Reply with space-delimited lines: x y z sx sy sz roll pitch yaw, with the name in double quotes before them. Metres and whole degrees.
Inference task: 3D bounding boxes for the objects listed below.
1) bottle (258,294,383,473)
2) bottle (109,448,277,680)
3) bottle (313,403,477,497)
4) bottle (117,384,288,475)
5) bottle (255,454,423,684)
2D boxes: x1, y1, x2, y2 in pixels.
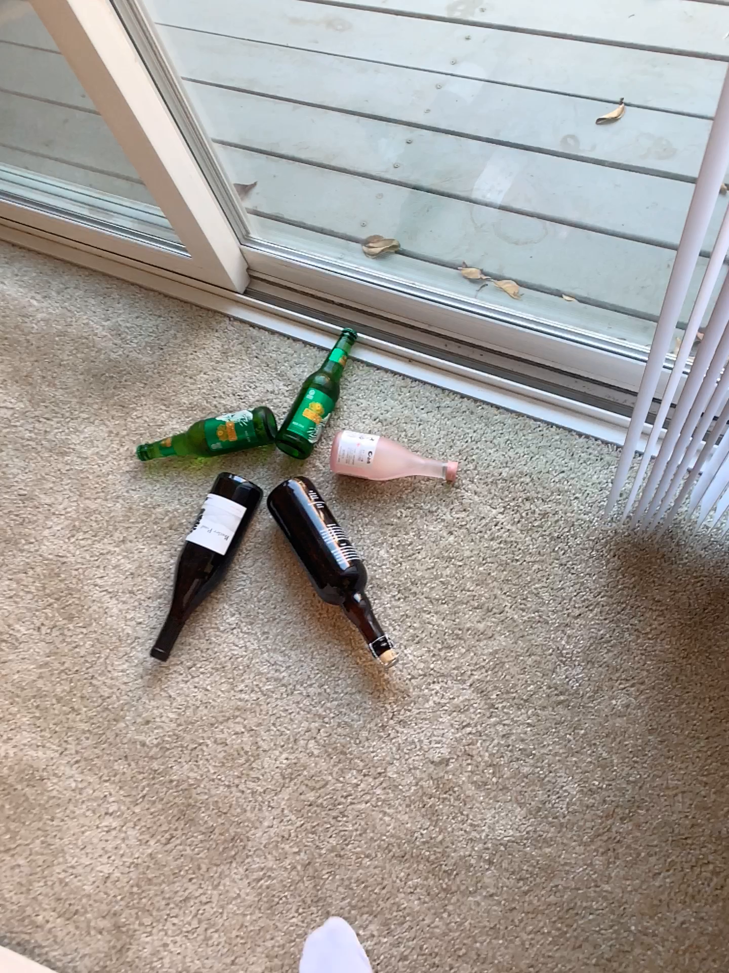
"bottle" -0.063 -0.159 1.149 0.080 0.090 0.250 18 75 19
"bottle" -0.238 0.108 1.071 0.080 0.090 0.310 17 70 19
"bottle" 0.047 -0.053 1.075 0.211 0.090 0.080 8 70 19
"bottle" -0.248 -0.086 1.154 0.240 0.090 0.070 -9 66 7
"bottle" -0.039 0.109 1.034 0.080 0.090 0.311 -32 62 -1
